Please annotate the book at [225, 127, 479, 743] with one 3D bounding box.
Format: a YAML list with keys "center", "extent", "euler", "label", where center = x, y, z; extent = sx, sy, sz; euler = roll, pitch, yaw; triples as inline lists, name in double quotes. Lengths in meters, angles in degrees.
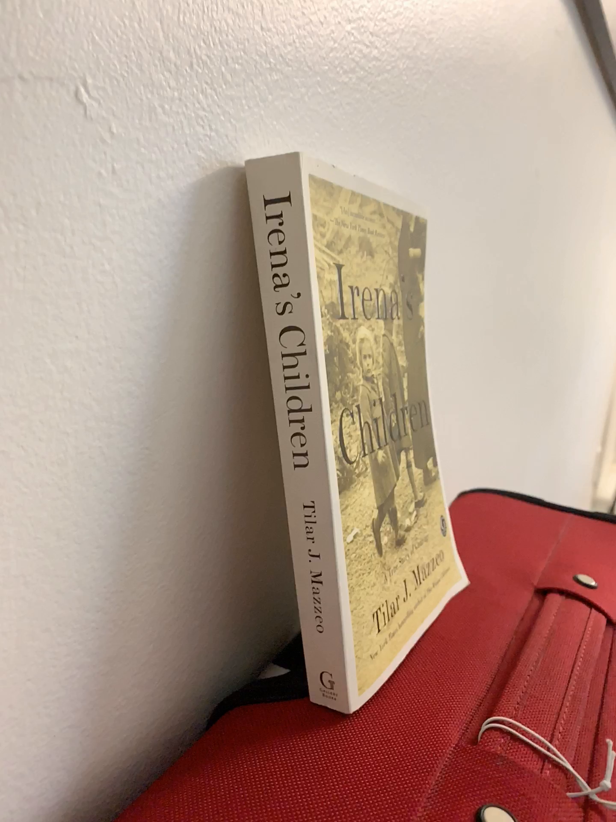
- center: [0.037, 0.002, 0.315]
  extent: [0.030, 0.230, 0.171]
  euler: [-1, 8, 32]
  label: "book"
